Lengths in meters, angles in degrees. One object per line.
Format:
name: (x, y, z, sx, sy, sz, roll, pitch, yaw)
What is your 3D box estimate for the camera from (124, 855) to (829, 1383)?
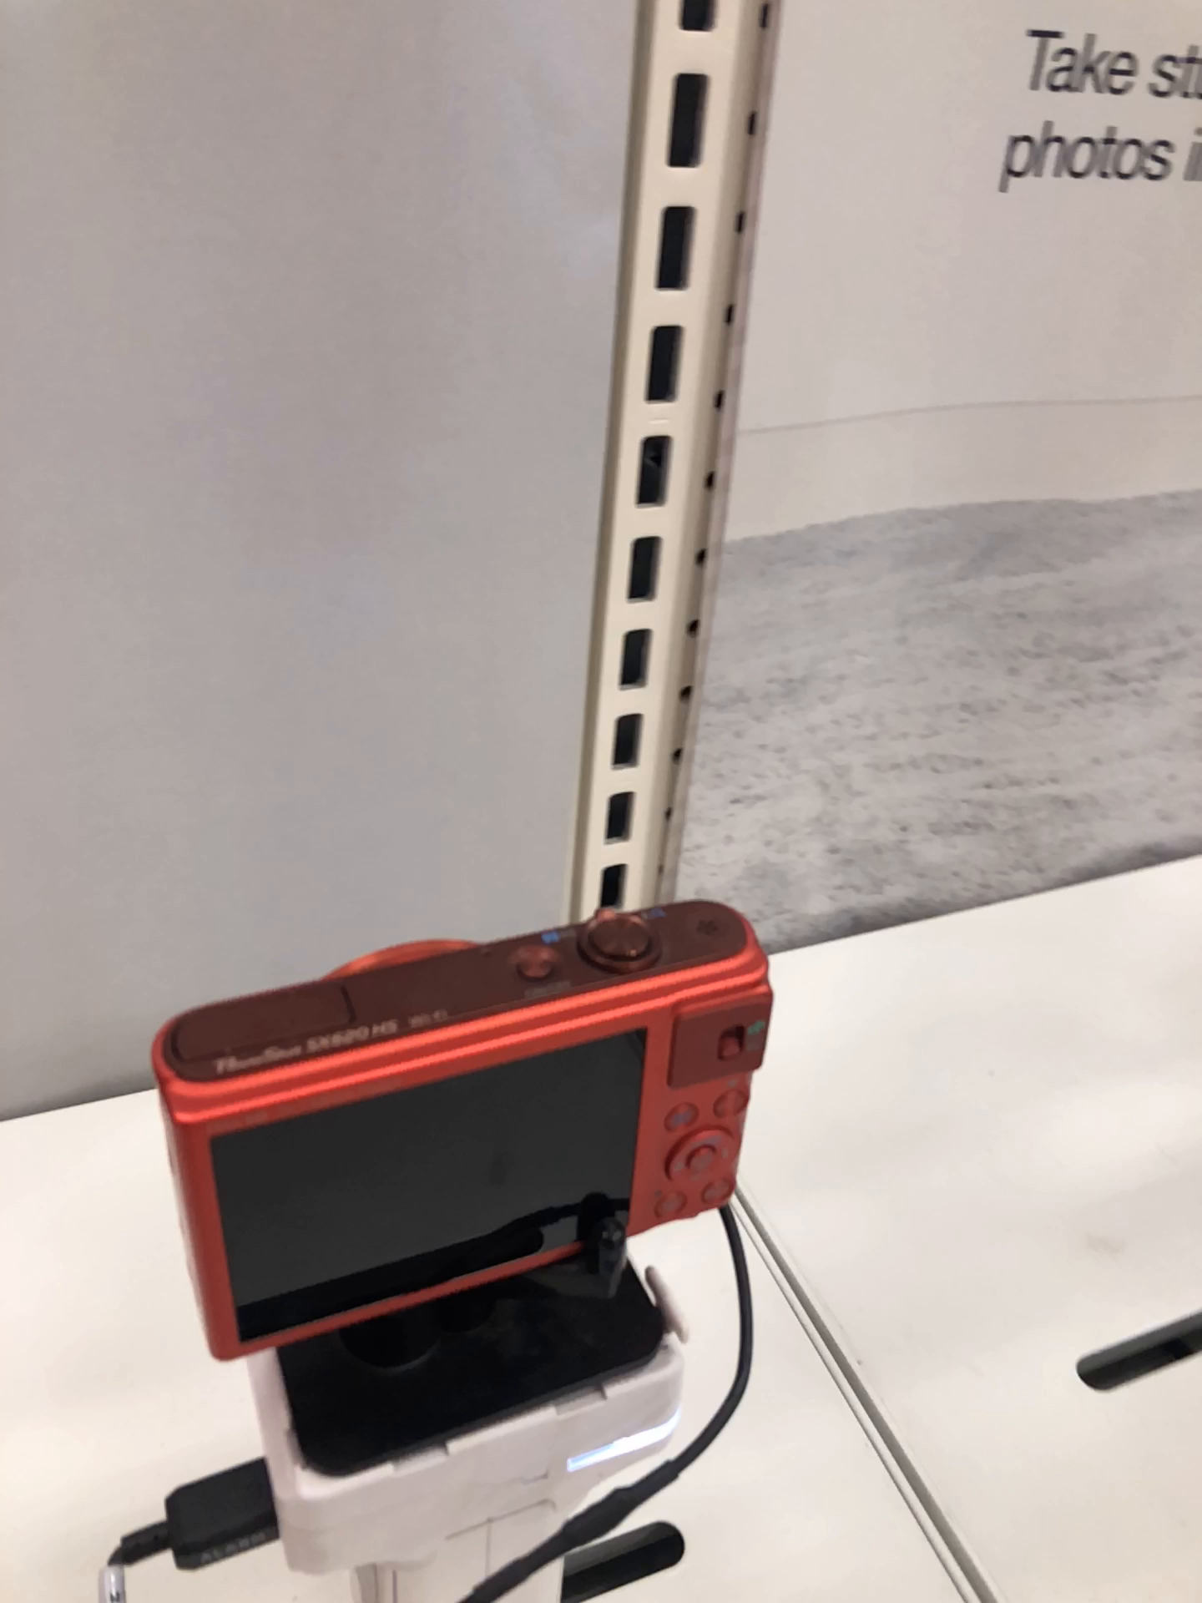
camera: (-0.020, 0.052, 0.231, 0.110, 0.060, 0.030, -10, 35, -22)
